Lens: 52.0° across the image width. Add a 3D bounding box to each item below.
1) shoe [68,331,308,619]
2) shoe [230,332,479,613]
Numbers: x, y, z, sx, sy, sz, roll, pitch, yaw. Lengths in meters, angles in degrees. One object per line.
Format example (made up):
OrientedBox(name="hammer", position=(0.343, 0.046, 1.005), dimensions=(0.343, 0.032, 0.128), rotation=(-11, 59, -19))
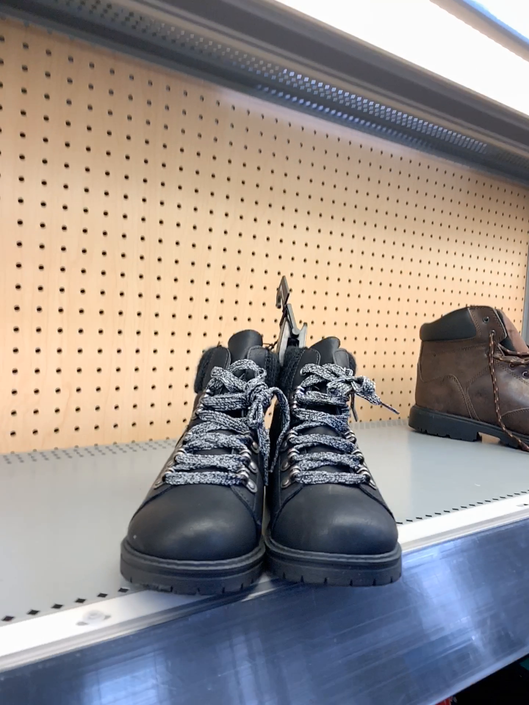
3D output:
OrientedBox(name="shoe", position=(-0.034, 0.060, 0.403), dimensions=(0.104, 0.137, 0.236), rotation=(4, 4, 9))
OrientedBox(name="shoe", position=(0.042, 0.062, 0.404), dimensions=(0.105, 0.137, 0.231), rotation=(3, 4, -10))
